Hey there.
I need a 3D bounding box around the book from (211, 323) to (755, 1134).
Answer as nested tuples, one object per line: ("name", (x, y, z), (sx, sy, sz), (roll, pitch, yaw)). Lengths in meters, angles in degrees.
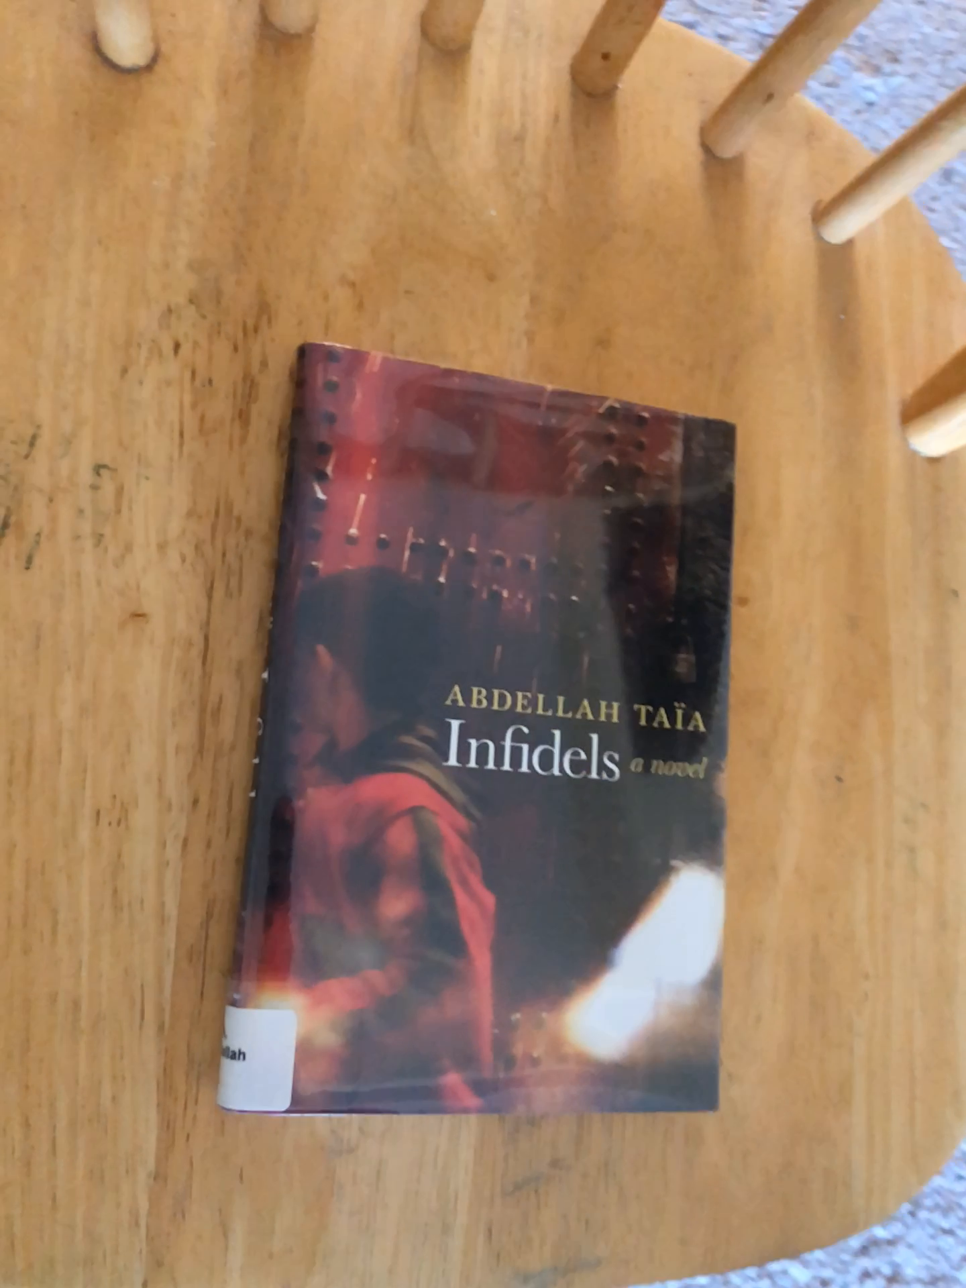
("book", (0.007, 0.025, 0.315), (0.143, 0.020, 0.216), (8, 79, -15))
